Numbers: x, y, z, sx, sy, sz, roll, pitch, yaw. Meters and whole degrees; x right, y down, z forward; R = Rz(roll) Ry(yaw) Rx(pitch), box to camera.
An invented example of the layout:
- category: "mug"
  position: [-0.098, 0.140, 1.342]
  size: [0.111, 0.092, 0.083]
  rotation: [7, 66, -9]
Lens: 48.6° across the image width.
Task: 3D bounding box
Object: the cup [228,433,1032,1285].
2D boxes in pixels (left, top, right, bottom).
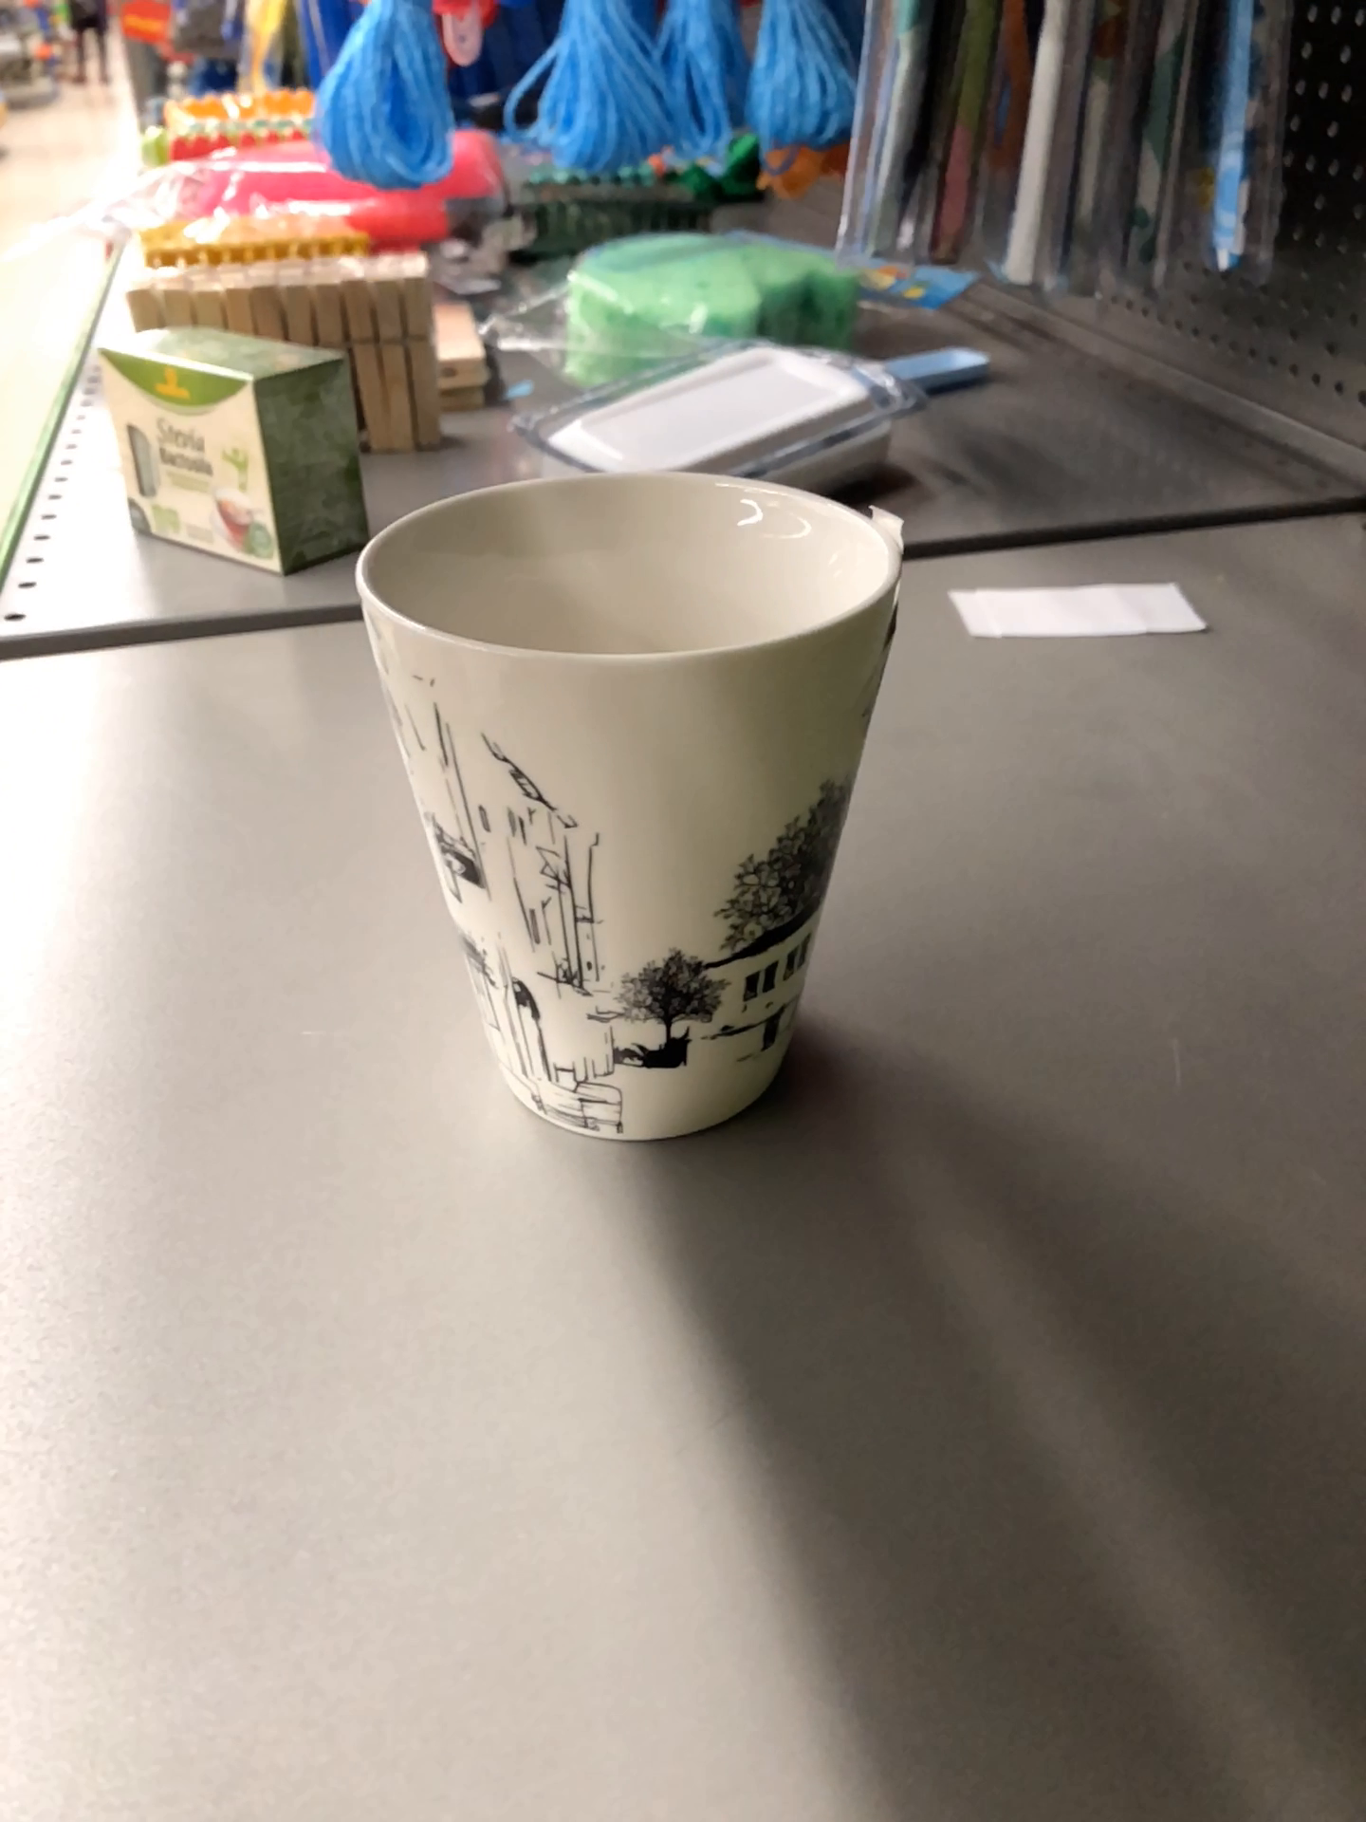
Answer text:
- category: "cup"
  position: [-0.014, -0.020, 0.276]
  size: [0.091, 0.098, 0.115]
  rotation: [-16, 33, -25]
